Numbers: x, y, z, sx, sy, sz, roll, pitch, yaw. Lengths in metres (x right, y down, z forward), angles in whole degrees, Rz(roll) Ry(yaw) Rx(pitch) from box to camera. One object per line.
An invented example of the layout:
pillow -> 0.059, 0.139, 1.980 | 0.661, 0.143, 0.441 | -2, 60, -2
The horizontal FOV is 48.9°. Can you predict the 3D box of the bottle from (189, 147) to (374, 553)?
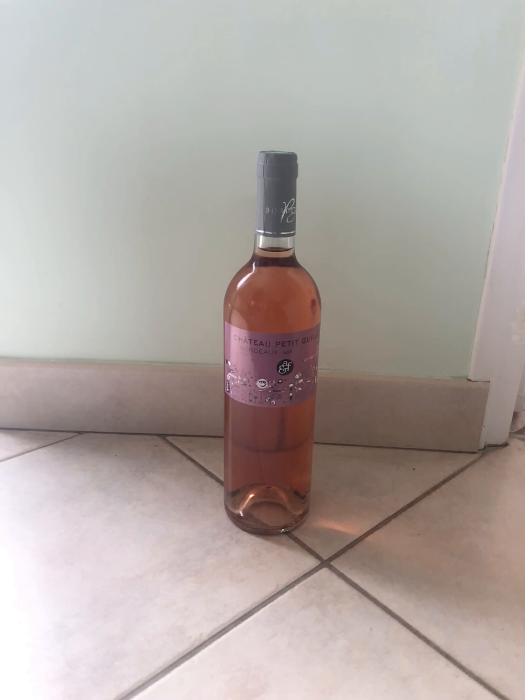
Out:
bottle -> 0.009, -0.002, 0.450 | 0.090, 0.289, 0.090 | 1, 22, -1
